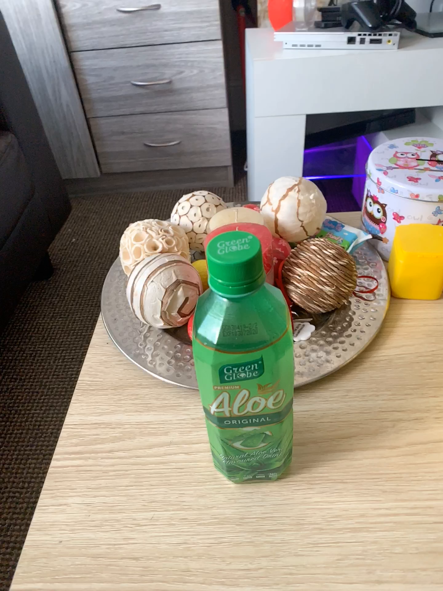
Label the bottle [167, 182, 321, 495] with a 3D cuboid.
[{"bbox_3d":[0.017,0.044,0.303,0.070,0.218,0.071,-3,40,3],"label":"bottle"}]
